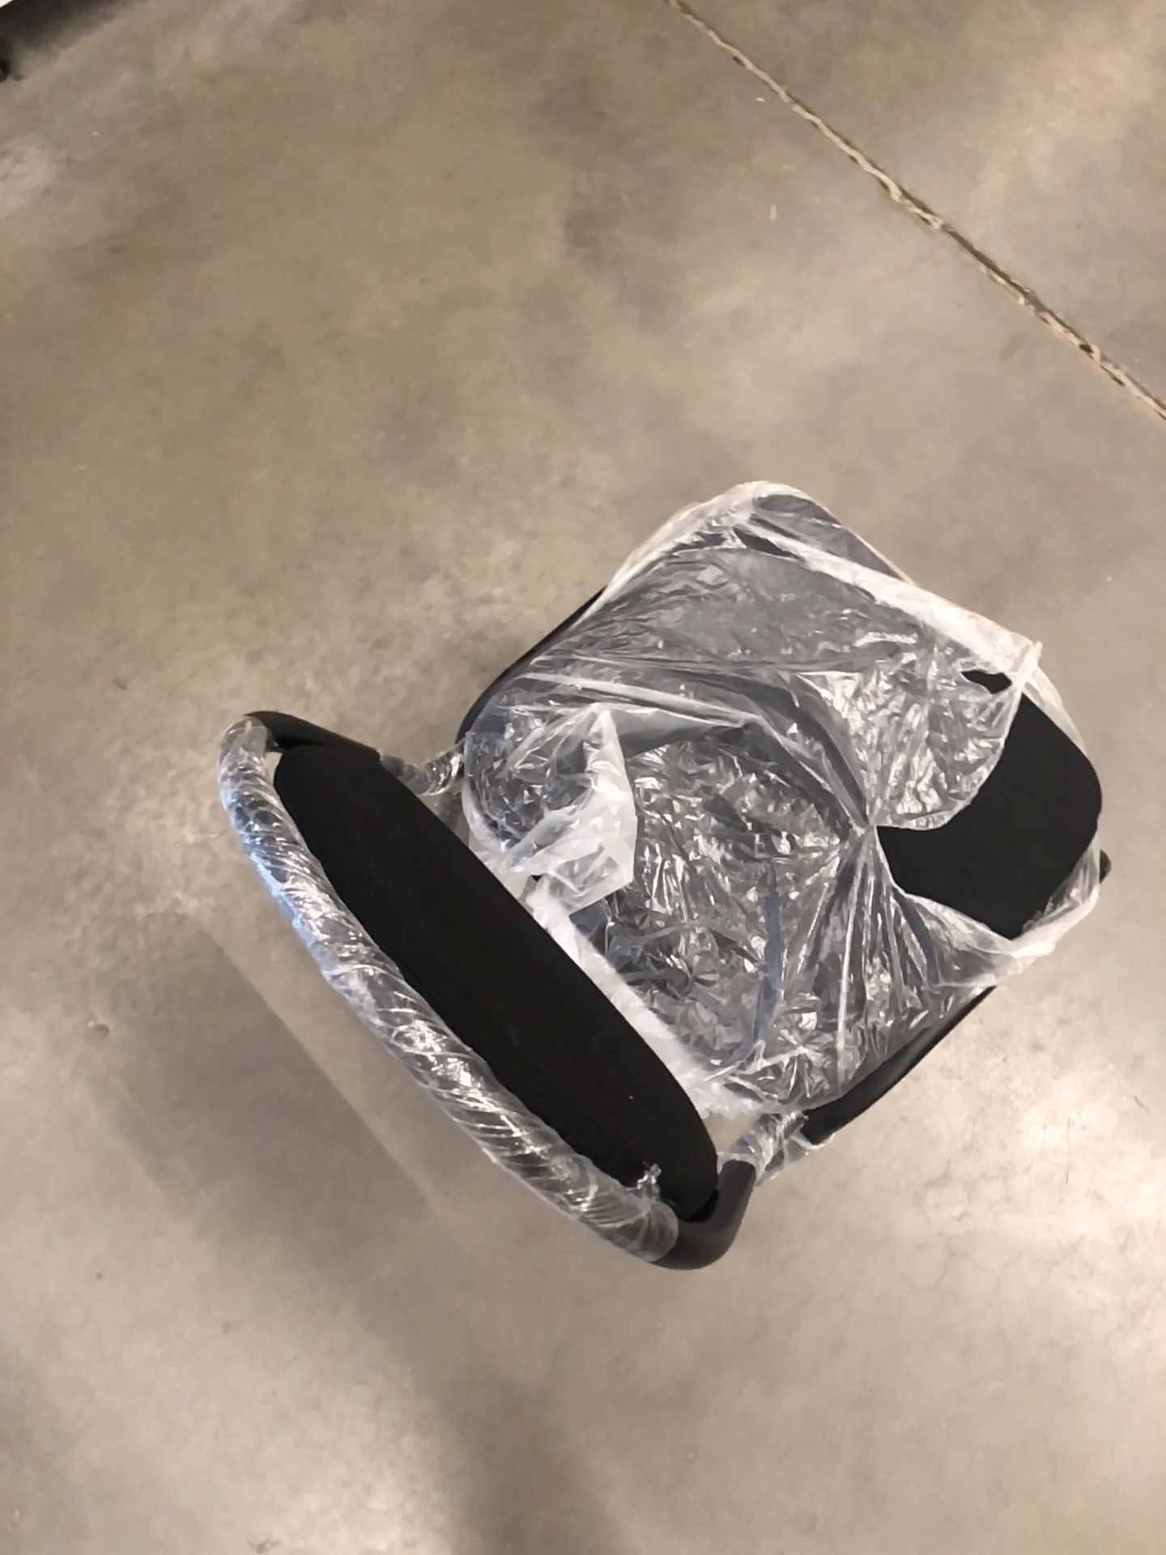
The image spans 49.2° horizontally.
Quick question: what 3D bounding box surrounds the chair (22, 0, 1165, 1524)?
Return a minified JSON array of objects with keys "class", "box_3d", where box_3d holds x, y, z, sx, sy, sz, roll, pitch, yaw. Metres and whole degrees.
[{"class":"chair","box_3d":[0.120,0.046,0.961,0.551,0.878,0.450,-41,77,-11]}]
